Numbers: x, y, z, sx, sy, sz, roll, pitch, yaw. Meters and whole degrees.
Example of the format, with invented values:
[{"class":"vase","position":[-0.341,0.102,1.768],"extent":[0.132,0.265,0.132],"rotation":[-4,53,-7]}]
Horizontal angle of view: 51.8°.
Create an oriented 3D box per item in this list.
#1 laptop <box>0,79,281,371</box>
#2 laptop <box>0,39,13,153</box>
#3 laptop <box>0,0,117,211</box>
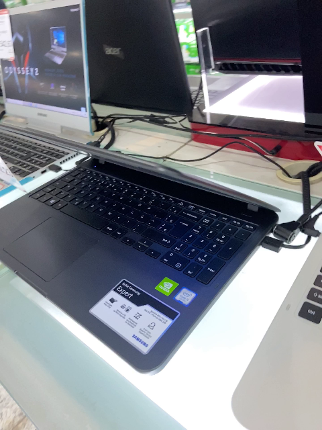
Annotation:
[{"class":"laptop","position":[-0.086,-0.046,0.397],"extent":[0.366,0.146,0.231],"rotation":[20,46,37]},{"class":"laptop","position":[-0.650,-0.338,0.907],"extent":[0.300,0.195,0.263],"rotation":[22,47,37]},{"class":"laptop","position":[-0.358,-0.247,0.669],"extent":[0.369,0.240,0.332],"rotation":[21,47,38]}]
